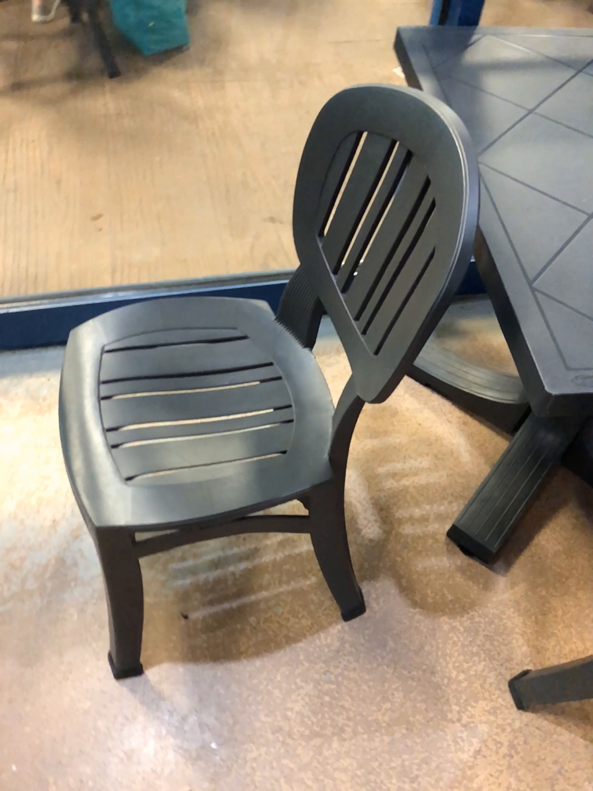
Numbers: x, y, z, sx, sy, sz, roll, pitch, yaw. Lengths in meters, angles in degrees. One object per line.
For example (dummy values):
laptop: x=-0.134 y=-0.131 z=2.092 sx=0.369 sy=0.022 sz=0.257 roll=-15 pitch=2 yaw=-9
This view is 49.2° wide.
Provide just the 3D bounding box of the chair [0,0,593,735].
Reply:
chair: x=-0.136 y=0.007 z=0.820 sx=0.550 sy=0.736 sz=0.503 roll=-12 pitch=55 yaw=-13
